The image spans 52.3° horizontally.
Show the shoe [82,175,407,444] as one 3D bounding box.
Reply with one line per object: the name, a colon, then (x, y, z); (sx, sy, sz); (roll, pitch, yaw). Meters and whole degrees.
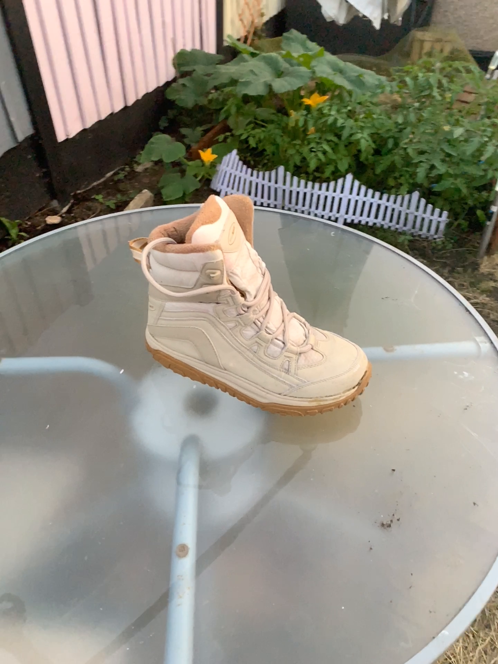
shoe: (-0.002, -0.028, 0.540); (0.280, 0.198, 0.121); (13, 42, 14)
